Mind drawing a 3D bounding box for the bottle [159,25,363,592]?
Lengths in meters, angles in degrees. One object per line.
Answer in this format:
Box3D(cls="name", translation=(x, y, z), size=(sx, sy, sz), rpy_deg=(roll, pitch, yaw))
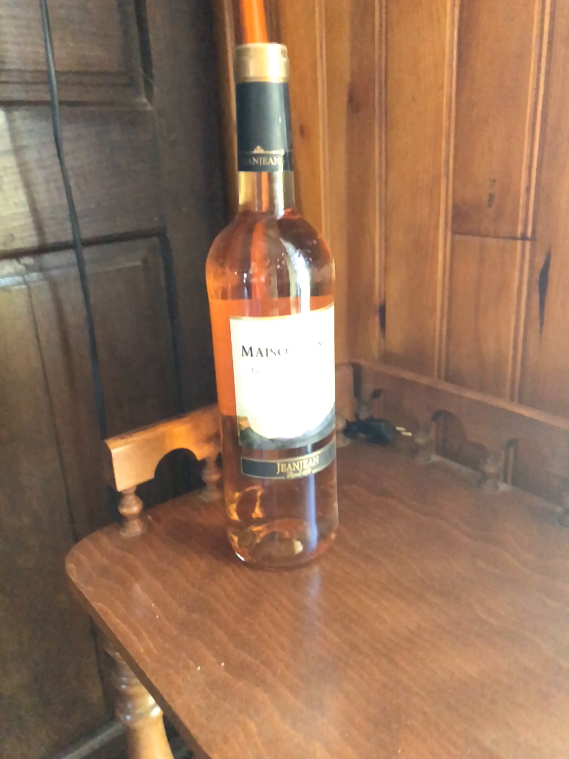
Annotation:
Box3D(cls="bottle", translation=(-0.008, -0.031, 0.356), size=(0.080, 0.289, 0.070), rpy_deg=(-10, 22, -20))
